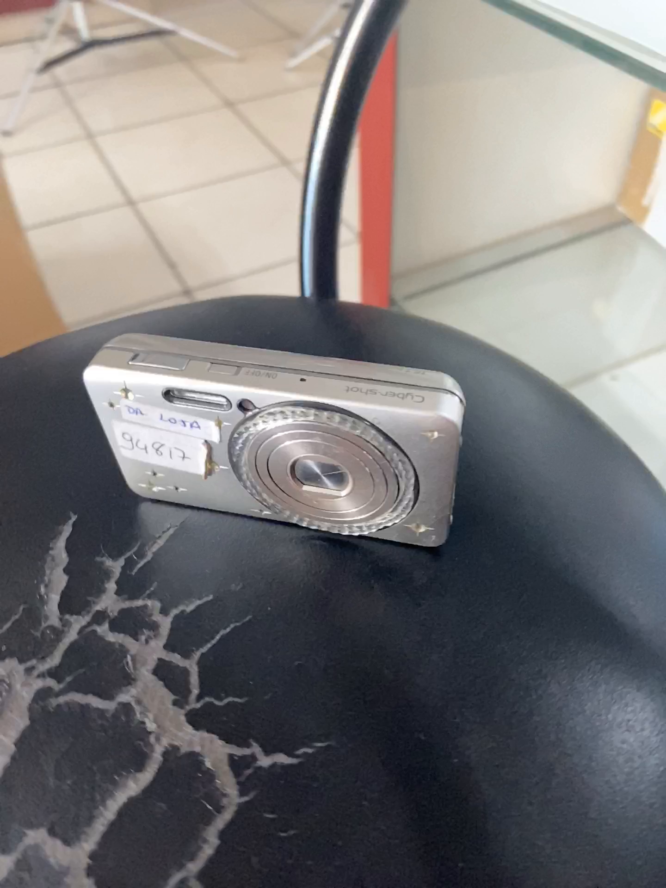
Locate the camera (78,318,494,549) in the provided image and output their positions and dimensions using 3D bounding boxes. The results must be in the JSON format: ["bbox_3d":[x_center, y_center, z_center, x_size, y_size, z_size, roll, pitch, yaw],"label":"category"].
[{"bbox_3d":[-0.010,-0.003,0.175,0.092,0.042,0.022,8,49,10],"label":"camera"}]
